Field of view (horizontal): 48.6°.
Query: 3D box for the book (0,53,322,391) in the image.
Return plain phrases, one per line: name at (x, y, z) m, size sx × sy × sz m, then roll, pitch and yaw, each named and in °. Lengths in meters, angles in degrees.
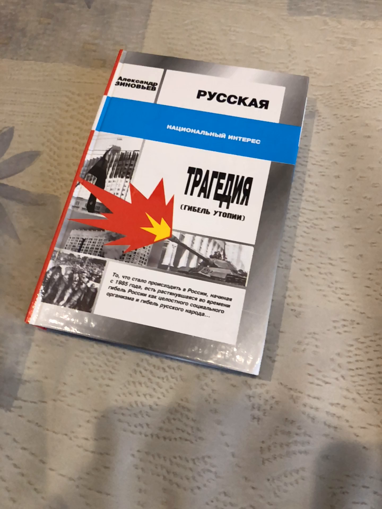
book at (-0.012, -0.031, 0.282) m, size 0.160 × 0.040 × 0.200 m, roll 11°, pitch 72°, yaw 9°
